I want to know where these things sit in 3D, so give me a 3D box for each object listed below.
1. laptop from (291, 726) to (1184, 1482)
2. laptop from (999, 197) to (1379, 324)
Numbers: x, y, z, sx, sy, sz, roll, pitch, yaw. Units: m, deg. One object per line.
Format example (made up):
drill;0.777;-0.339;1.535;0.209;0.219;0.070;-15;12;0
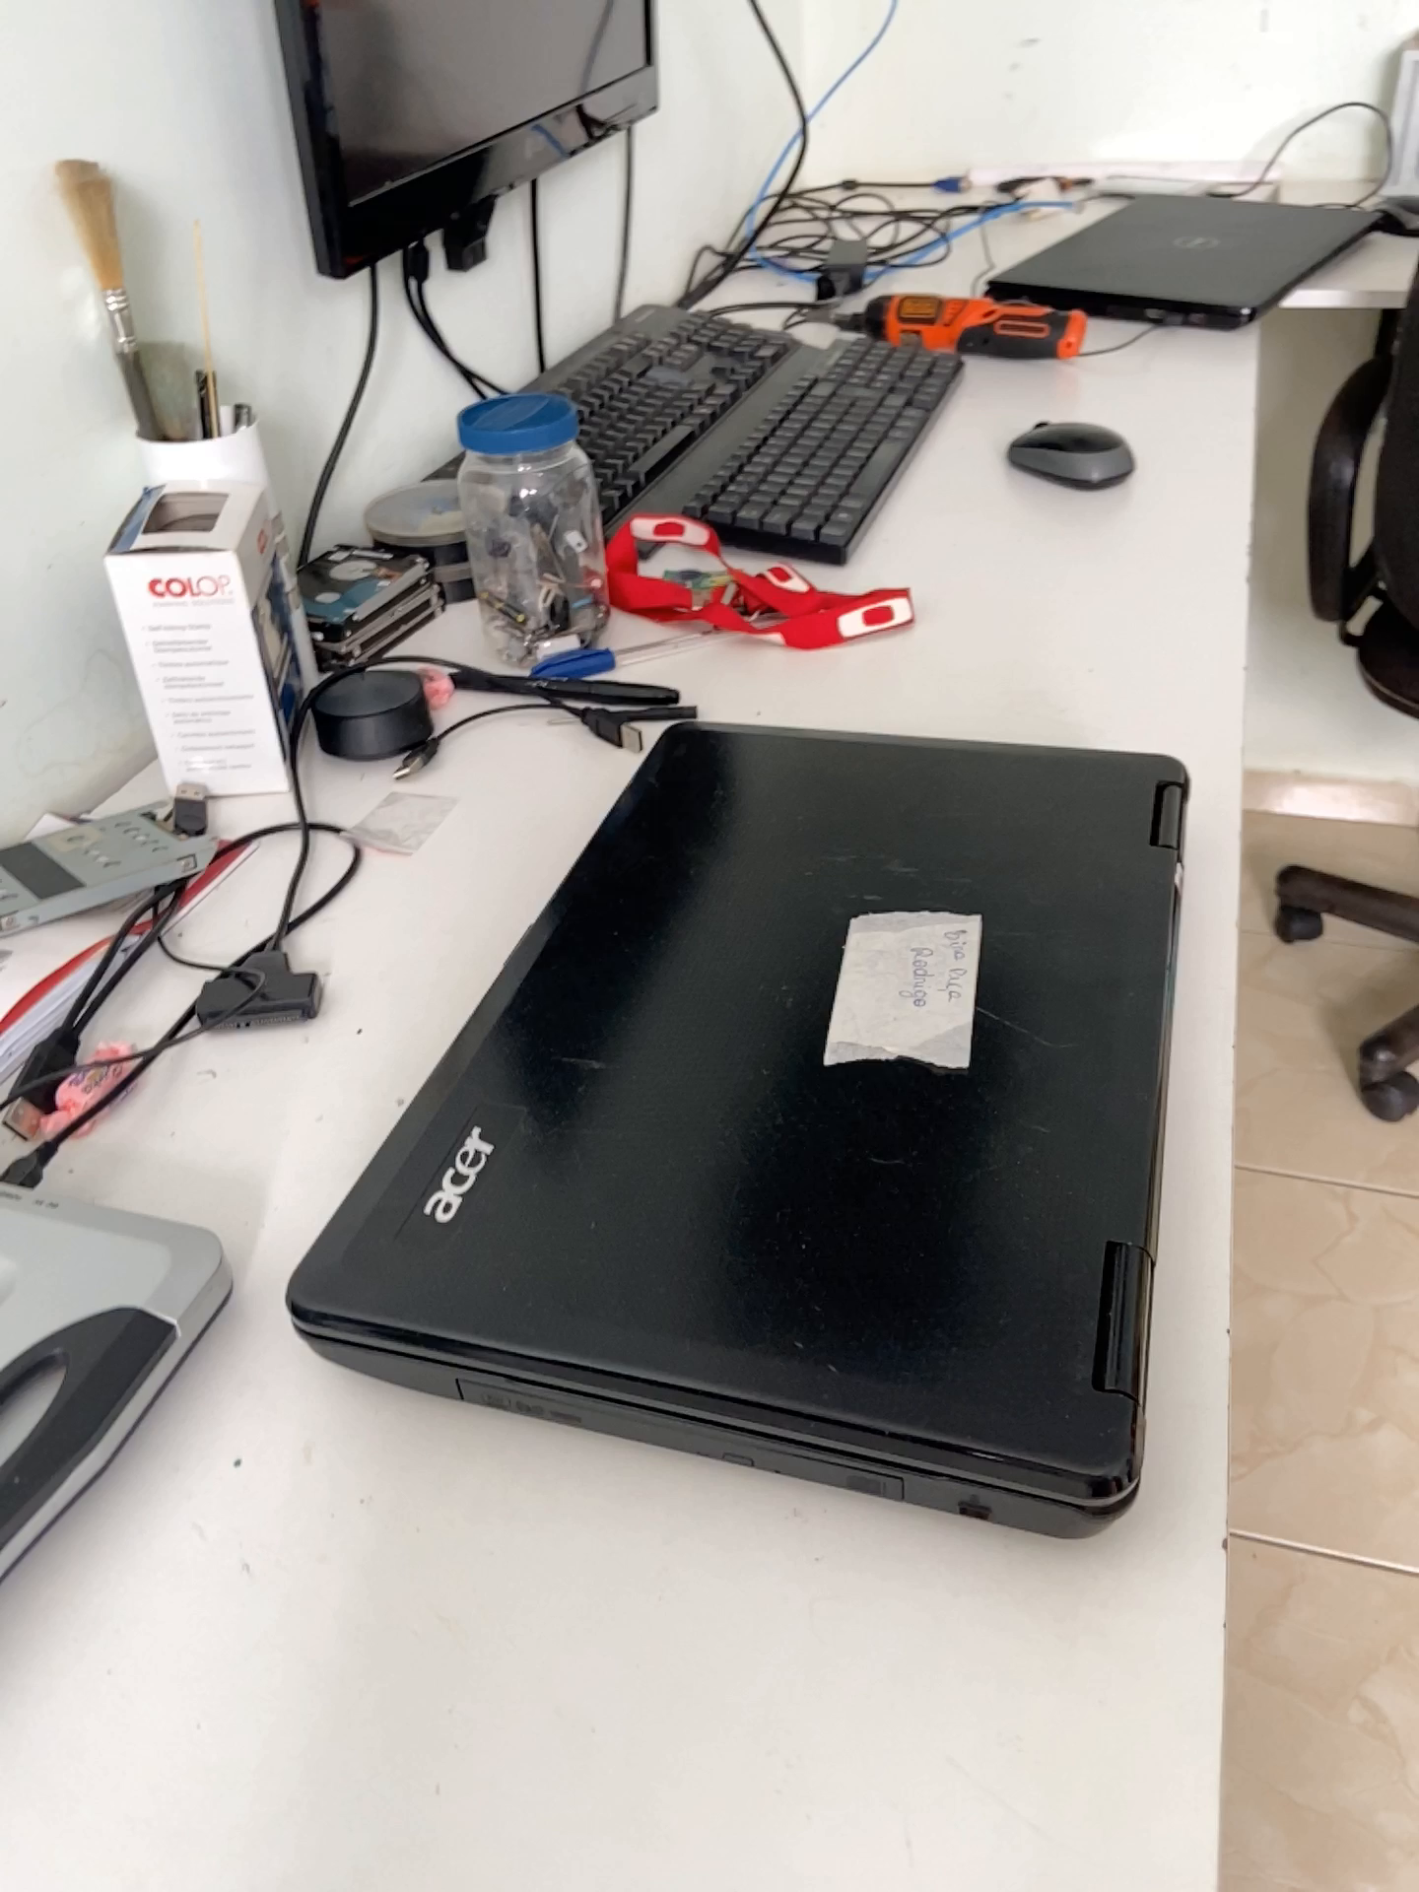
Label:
laptop;0.042;0.015;0.536;0.238;0.005;0.358;7;38;16
laptop;0.483;-0.691;1.455;0.243;0.011;0.313;24;49;30
